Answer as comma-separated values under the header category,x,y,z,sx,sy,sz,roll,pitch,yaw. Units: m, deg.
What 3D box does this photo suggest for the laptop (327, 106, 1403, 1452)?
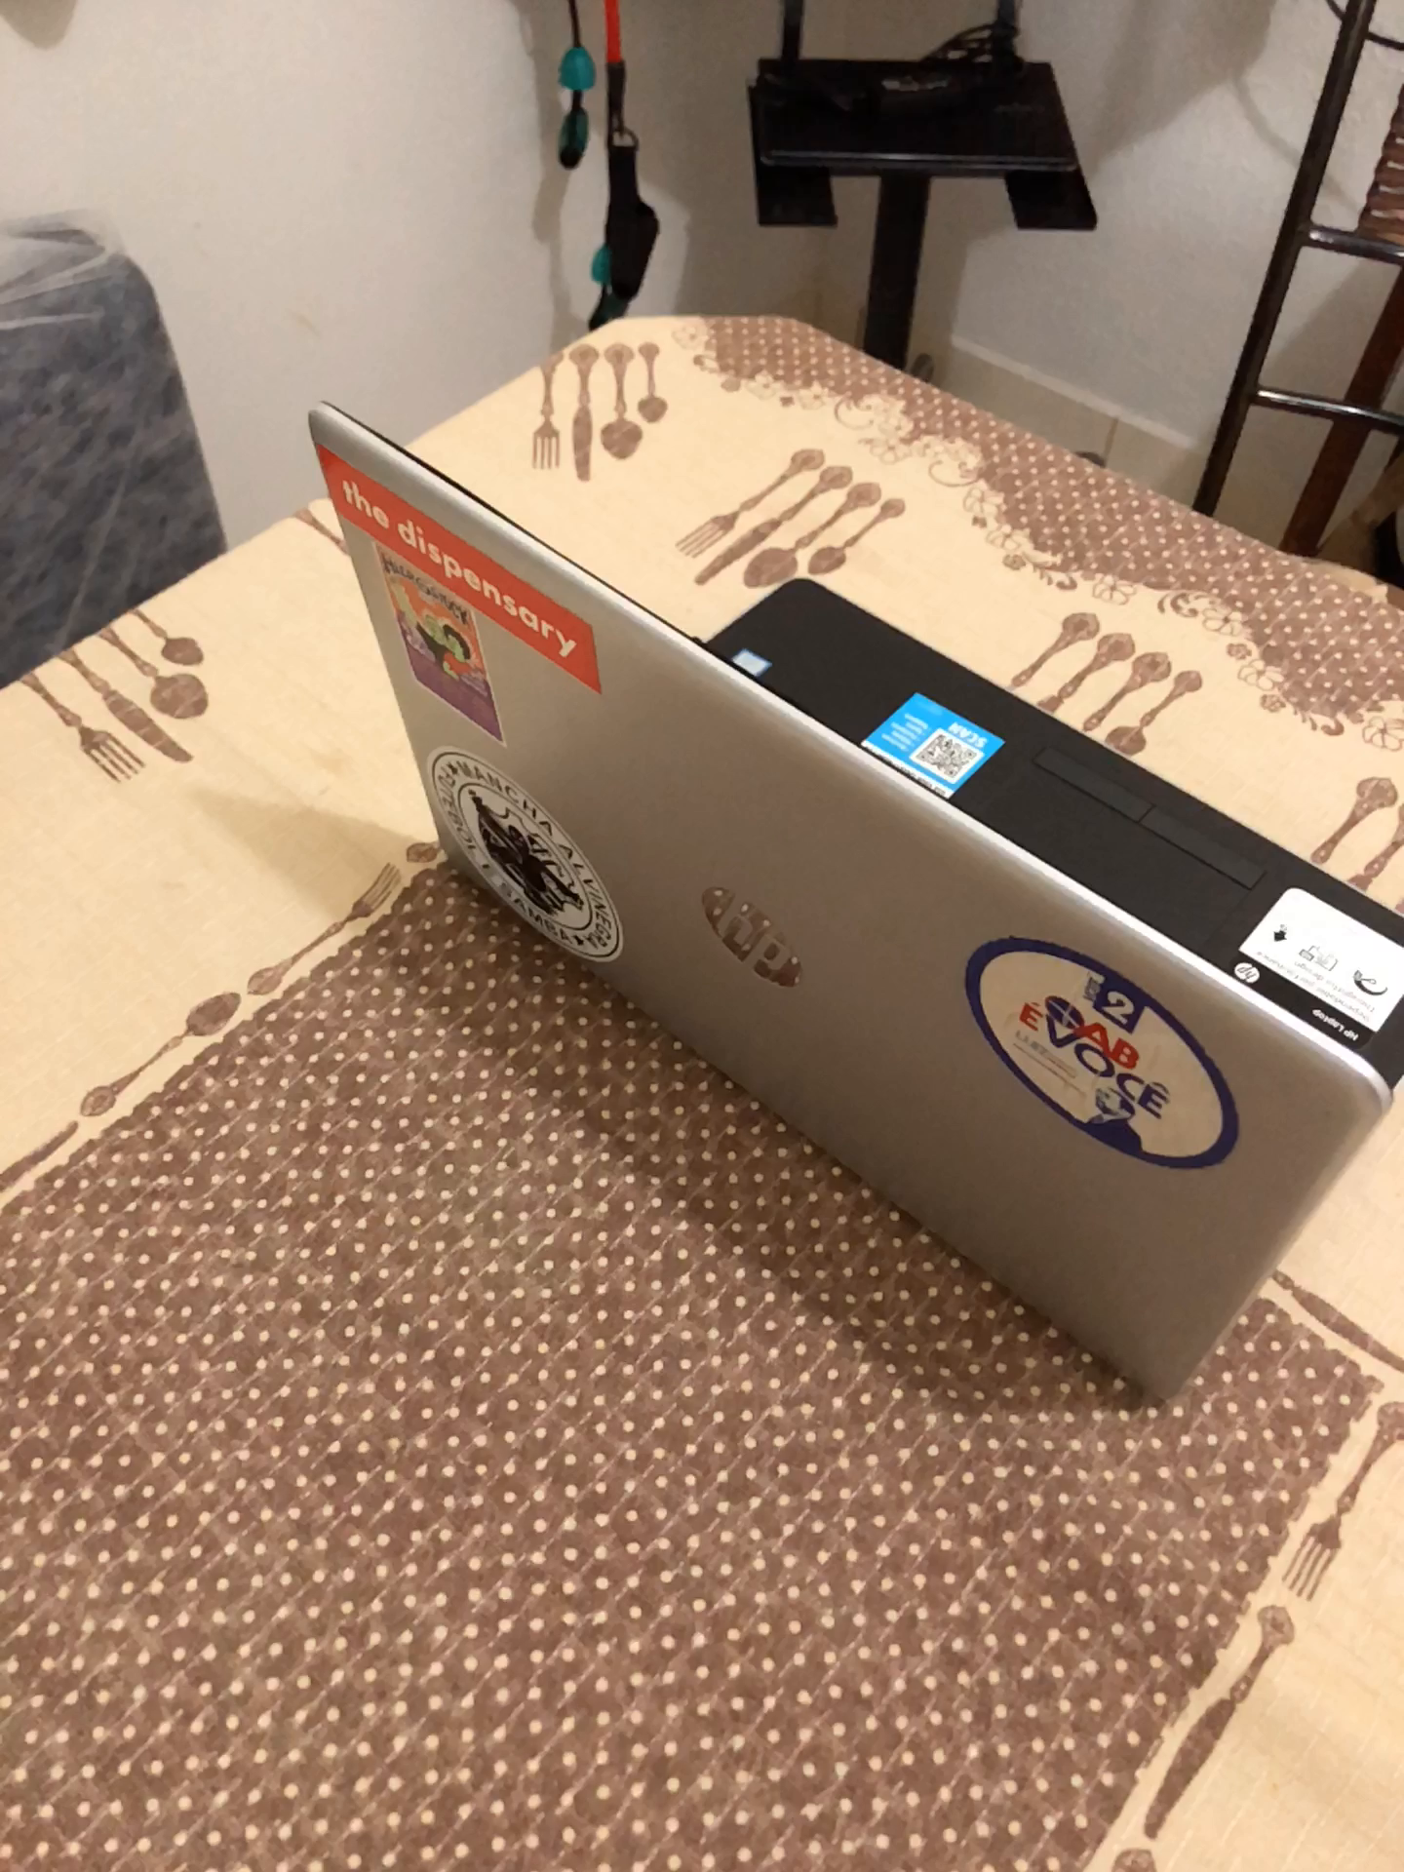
category,x,y,z,sx,sy,sz,roll,pitch,yaw
laptop,0.103,-0.076,0.554,0.360,0.226,0.268,35,59,23
